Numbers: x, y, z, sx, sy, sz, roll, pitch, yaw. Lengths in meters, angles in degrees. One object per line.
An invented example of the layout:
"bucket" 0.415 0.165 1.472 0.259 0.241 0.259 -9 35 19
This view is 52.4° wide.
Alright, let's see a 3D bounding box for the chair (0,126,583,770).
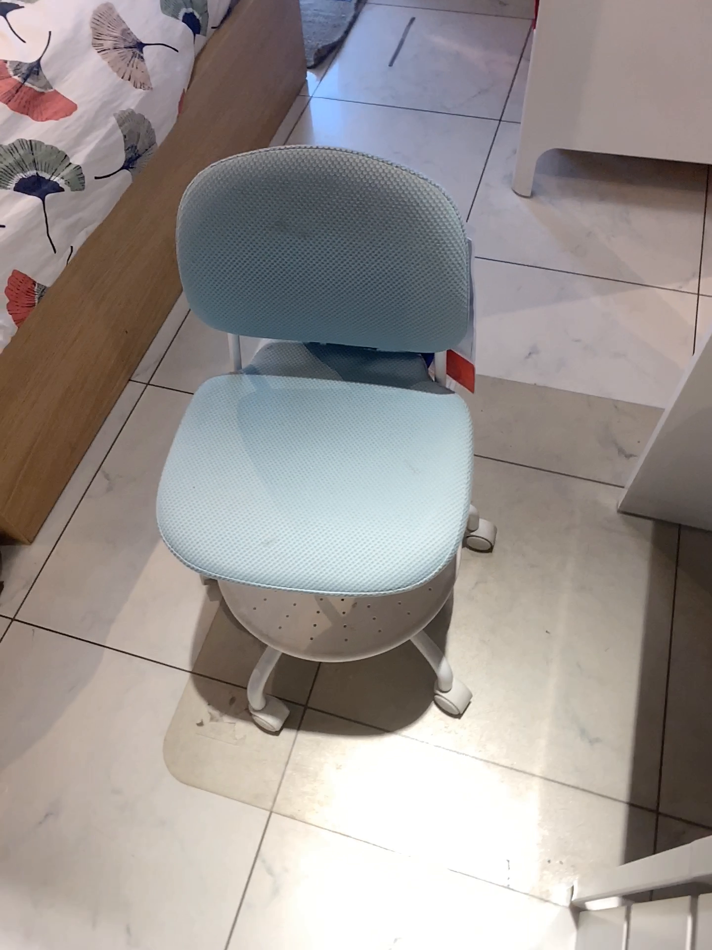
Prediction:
"chair" -0.048 0.005 1.095 0.600 0.718 0.621 6 58 7
